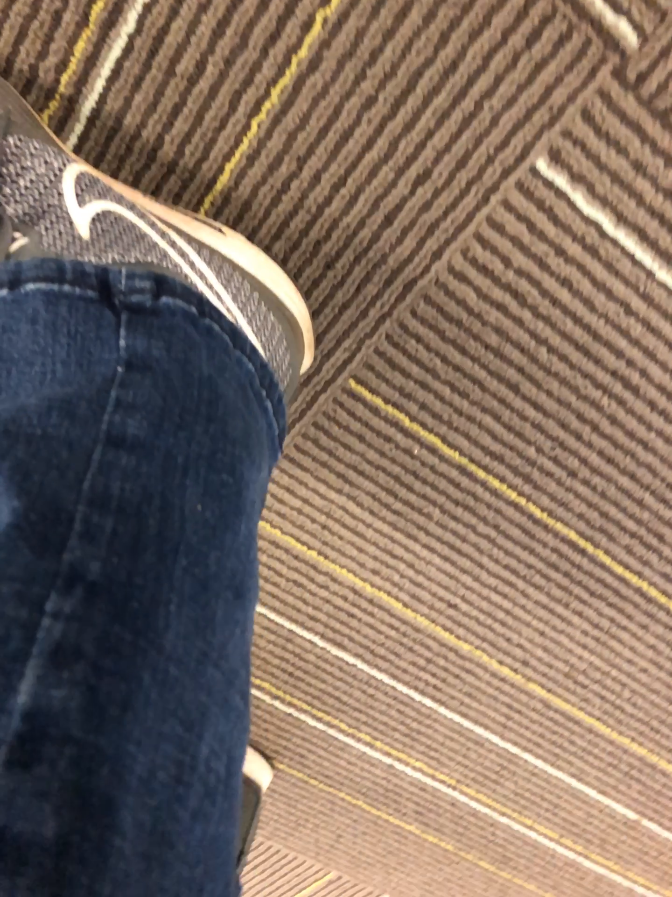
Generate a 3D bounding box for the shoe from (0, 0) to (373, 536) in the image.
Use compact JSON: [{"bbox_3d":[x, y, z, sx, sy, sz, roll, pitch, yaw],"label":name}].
[{"bbox_3d":[-0.148,-0.090,0.312,0.300,0.060,0.120,28,123,-5],"label":"shoe"}]
